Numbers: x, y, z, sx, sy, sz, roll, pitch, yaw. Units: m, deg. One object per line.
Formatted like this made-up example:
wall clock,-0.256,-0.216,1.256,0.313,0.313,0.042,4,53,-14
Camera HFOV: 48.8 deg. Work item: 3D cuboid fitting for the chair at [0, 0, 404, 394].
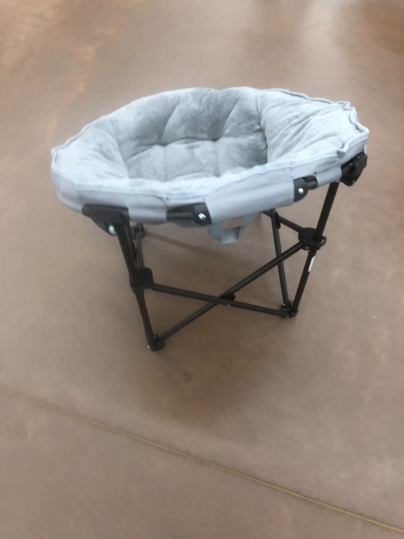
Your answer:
chair,-0.043,-0.198,0.941,0.570,0.529,0.631,-14,58,-8
